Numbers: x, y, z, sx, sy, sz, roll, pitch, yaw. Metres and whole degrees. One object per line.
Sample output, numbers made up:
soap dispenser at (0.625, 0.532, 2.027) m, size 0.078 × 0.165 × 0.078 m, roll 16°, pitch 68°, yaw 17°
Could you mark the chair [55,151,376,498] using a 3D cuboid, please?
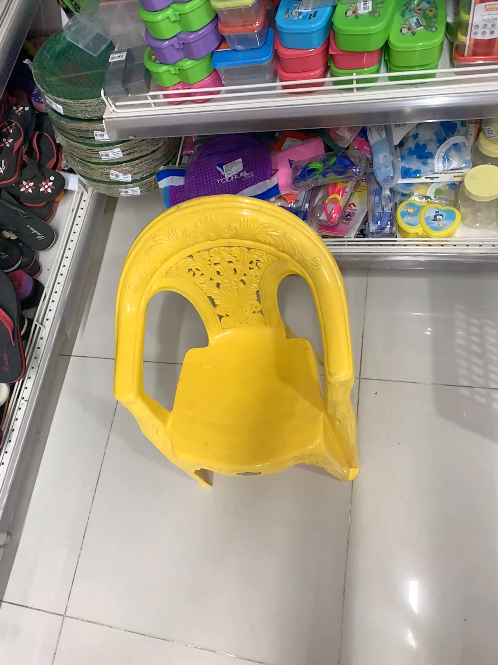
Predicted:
chair at (-0.008, 0.039, 0.934) m, size 0.420 × 0.449 × 0.460 m, roll -6°, pitch 66°, yaw 13°
